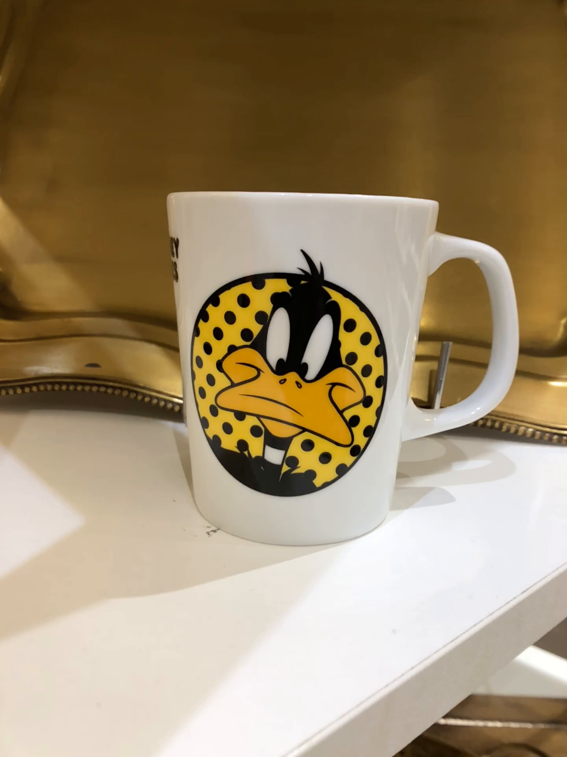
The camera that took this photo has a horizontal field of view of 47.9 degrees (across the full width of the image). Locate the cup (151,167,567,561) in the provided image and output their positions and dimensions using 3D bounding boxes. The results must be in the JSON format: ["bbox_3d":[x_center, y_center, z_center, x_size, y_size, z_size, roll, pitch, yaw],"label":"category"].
[{"bbox_3d":[0.022,-0.013,0.198,0.120,0.090,0.090,-1,14,-13],"label":"cup"}]
